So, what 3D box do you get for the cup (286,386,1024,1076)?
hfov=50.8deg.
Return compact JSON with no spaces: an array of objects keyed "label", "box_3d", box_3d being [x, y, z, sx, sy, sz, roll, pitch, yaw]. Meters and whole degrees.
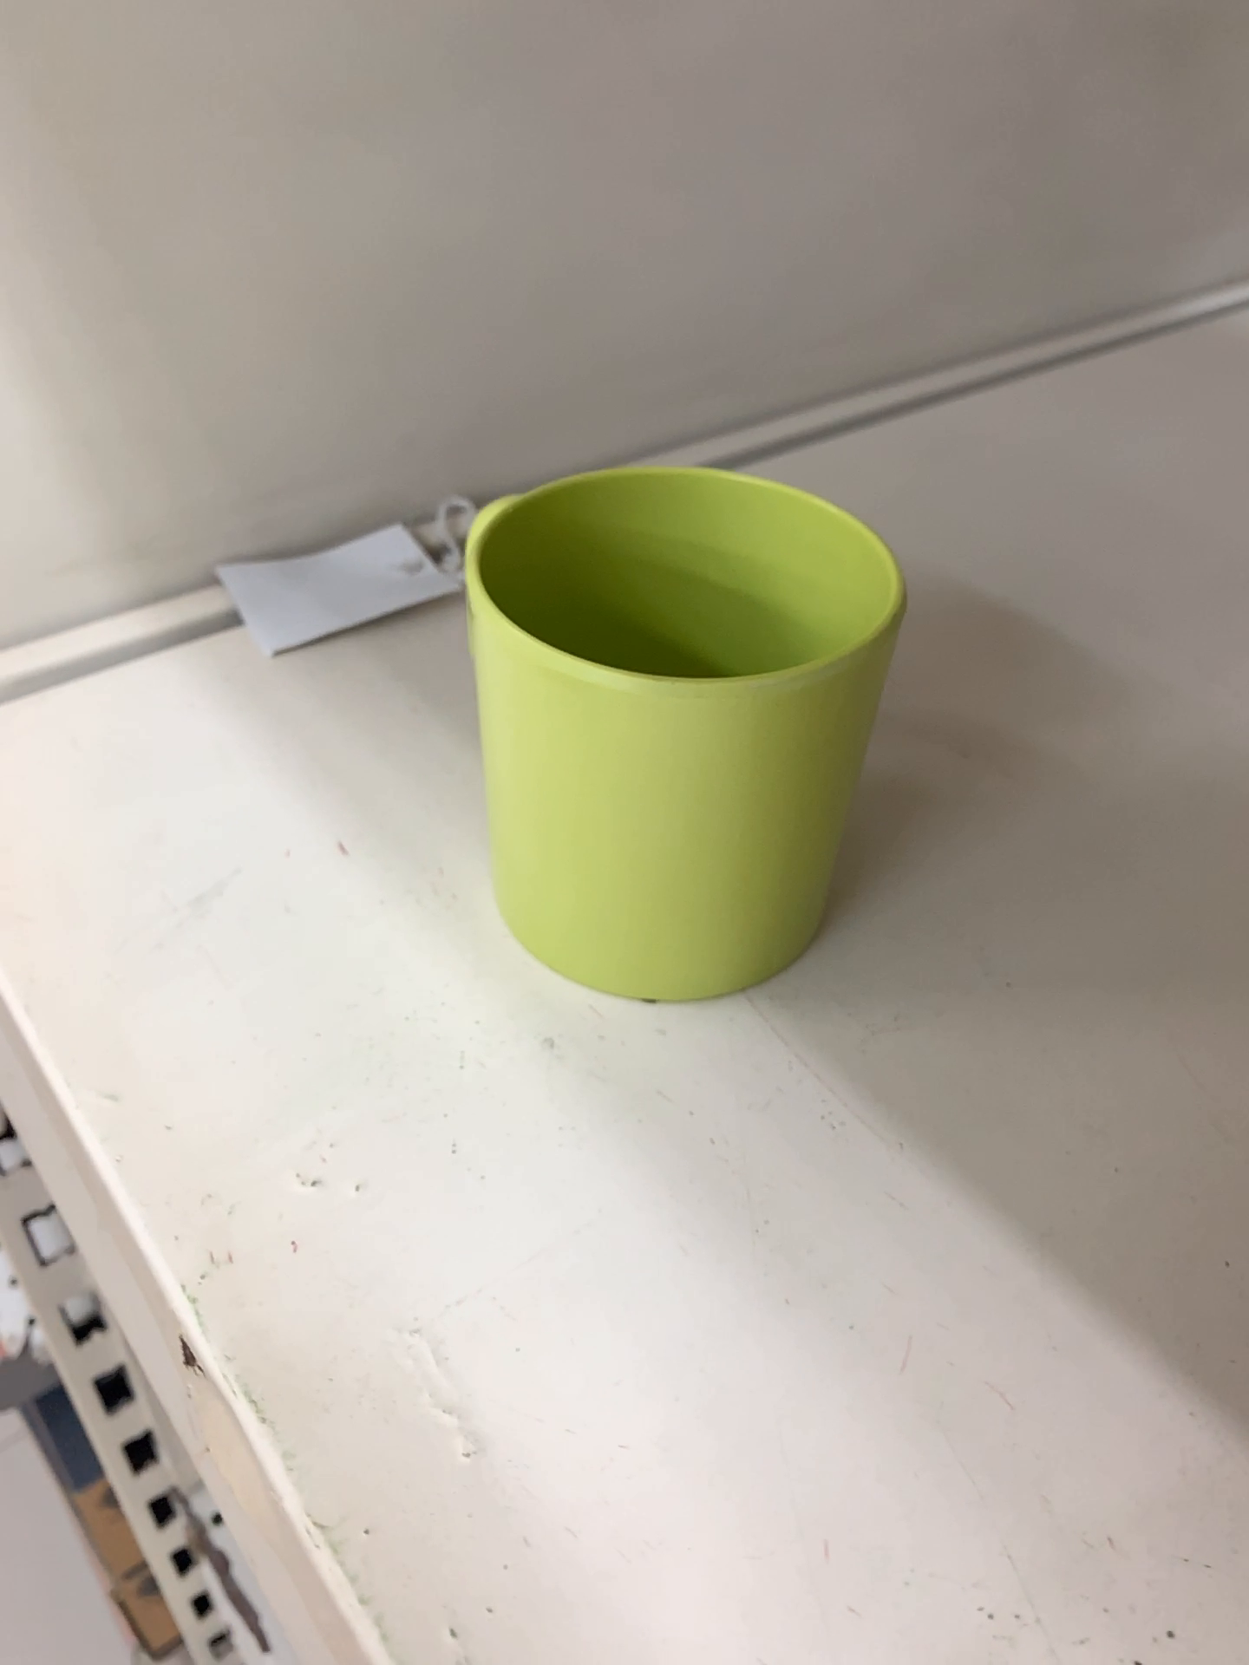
[{"label":"cup","box_3d":[0.003,-0.024,0.230,0.090,0.063,0.077,33,48,32]}]
